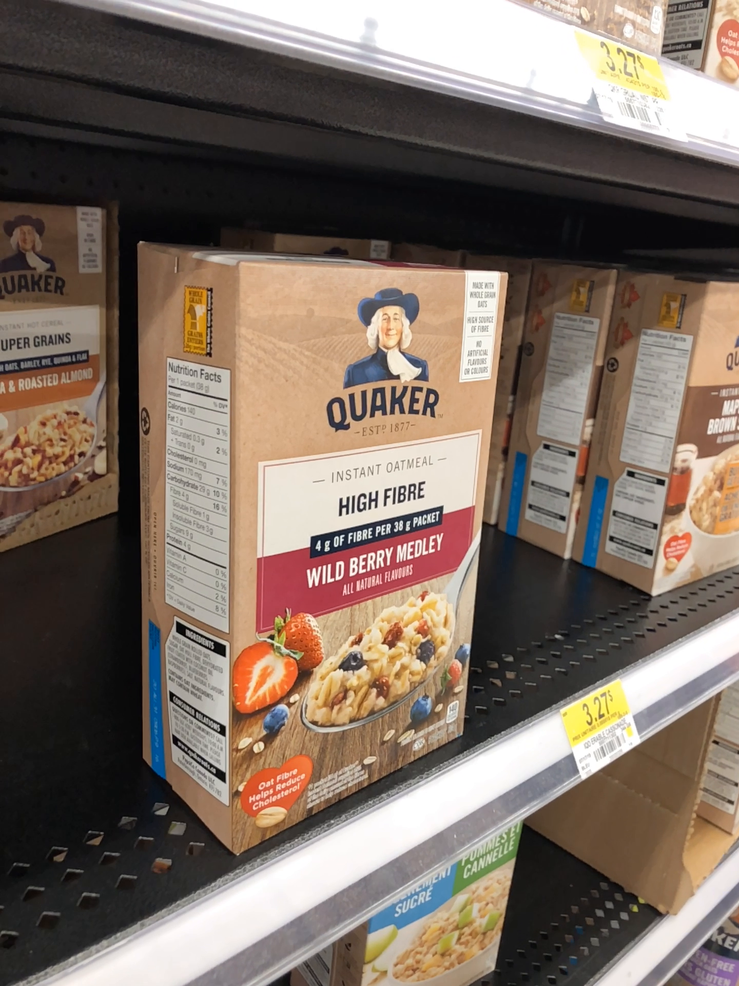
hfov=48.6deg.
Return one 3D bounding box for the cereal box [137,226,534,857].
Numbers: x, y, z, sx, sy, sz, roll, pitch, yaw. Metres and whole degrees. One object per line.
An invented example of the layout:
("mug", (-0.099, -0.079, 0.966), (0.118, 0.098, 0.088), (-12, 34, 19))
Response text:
("cereal box", (-0.011, 0.008, 0.310), (0.130, 0.199, 0.060), (-11, 20, -42))
